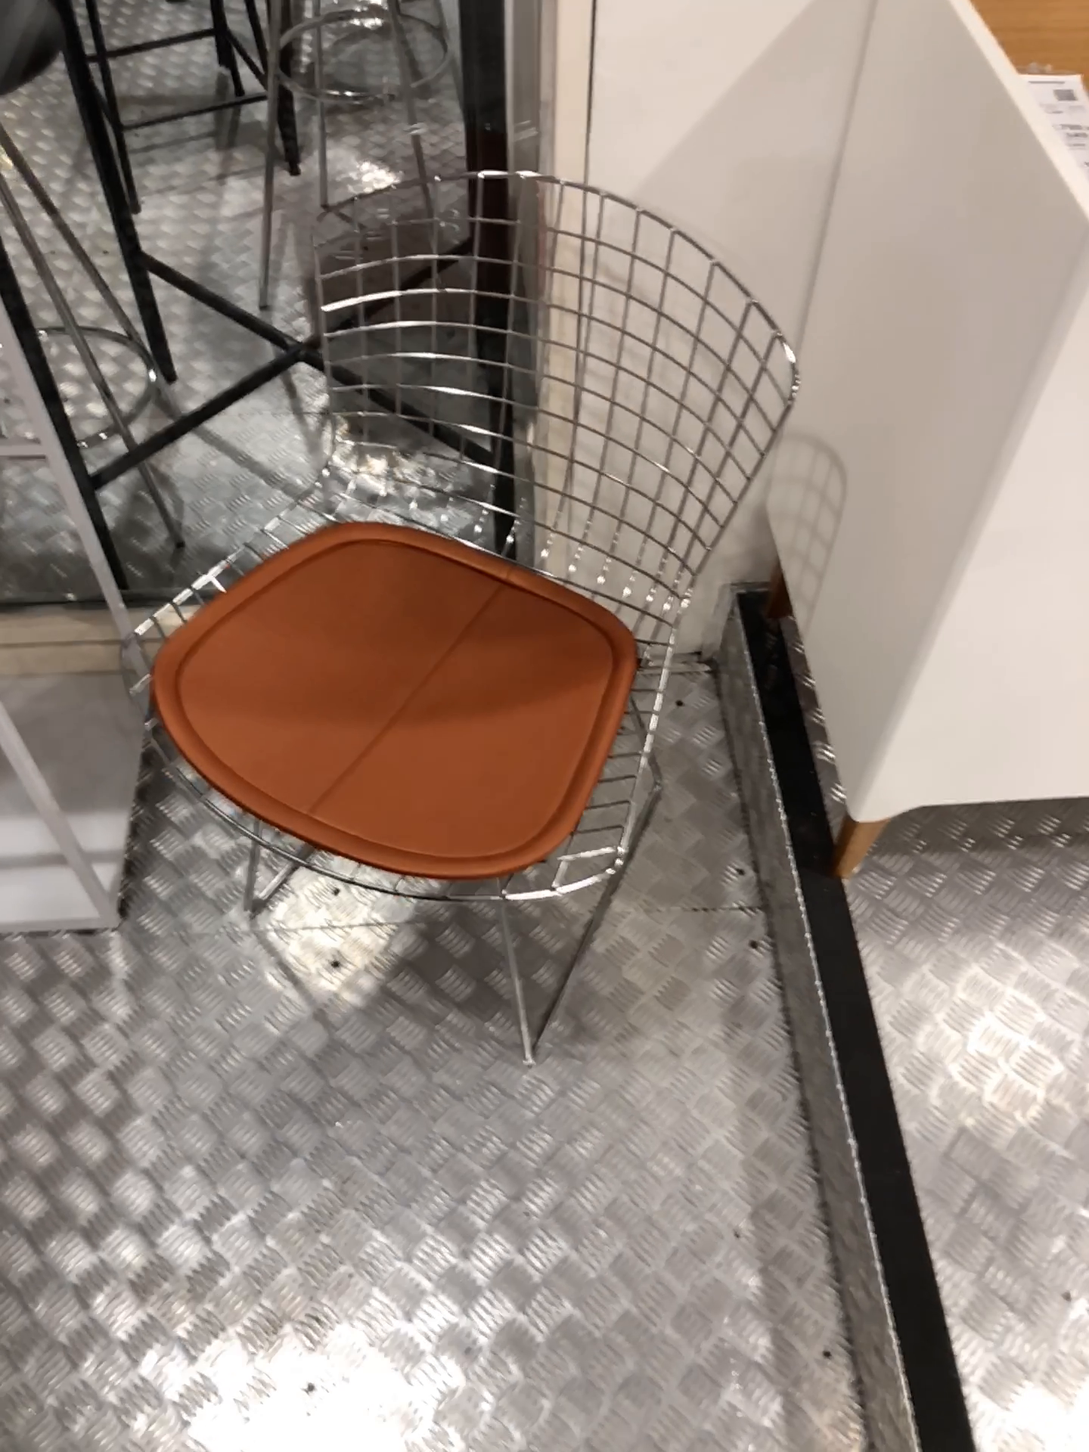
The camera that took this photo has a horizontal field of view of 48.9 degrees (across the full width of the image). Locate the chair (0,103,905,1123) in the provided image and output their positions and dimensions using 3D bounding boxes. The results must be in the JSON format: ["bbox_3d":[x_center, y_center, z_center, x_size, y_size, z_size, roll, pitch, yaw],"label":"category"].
[{"bbox_3d":[-0.072,-0.094,1.226,0.551,0.705,0.573,23,56,16],"label":"chair"}]
